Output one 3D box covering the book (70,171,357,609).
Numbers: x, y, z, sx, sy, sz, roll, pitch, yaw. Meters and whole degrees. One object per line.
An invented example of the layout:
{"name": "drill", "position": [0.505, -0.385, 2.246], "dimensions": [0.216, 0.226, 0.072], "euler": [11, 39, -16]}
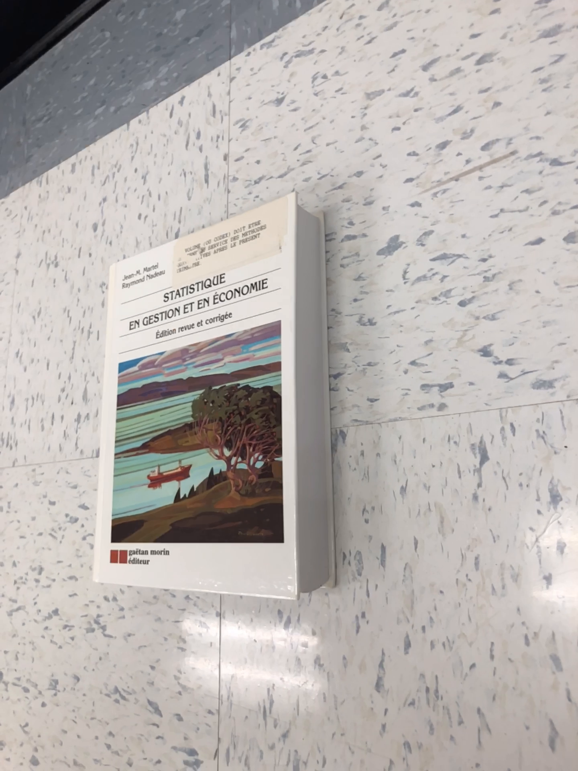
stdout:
{"name": "book", "position": [-0.056, 0.012, 0.423], "dimensions": [0.191, 0.060, 0.240], "euler": [-11, 74, 37]}
